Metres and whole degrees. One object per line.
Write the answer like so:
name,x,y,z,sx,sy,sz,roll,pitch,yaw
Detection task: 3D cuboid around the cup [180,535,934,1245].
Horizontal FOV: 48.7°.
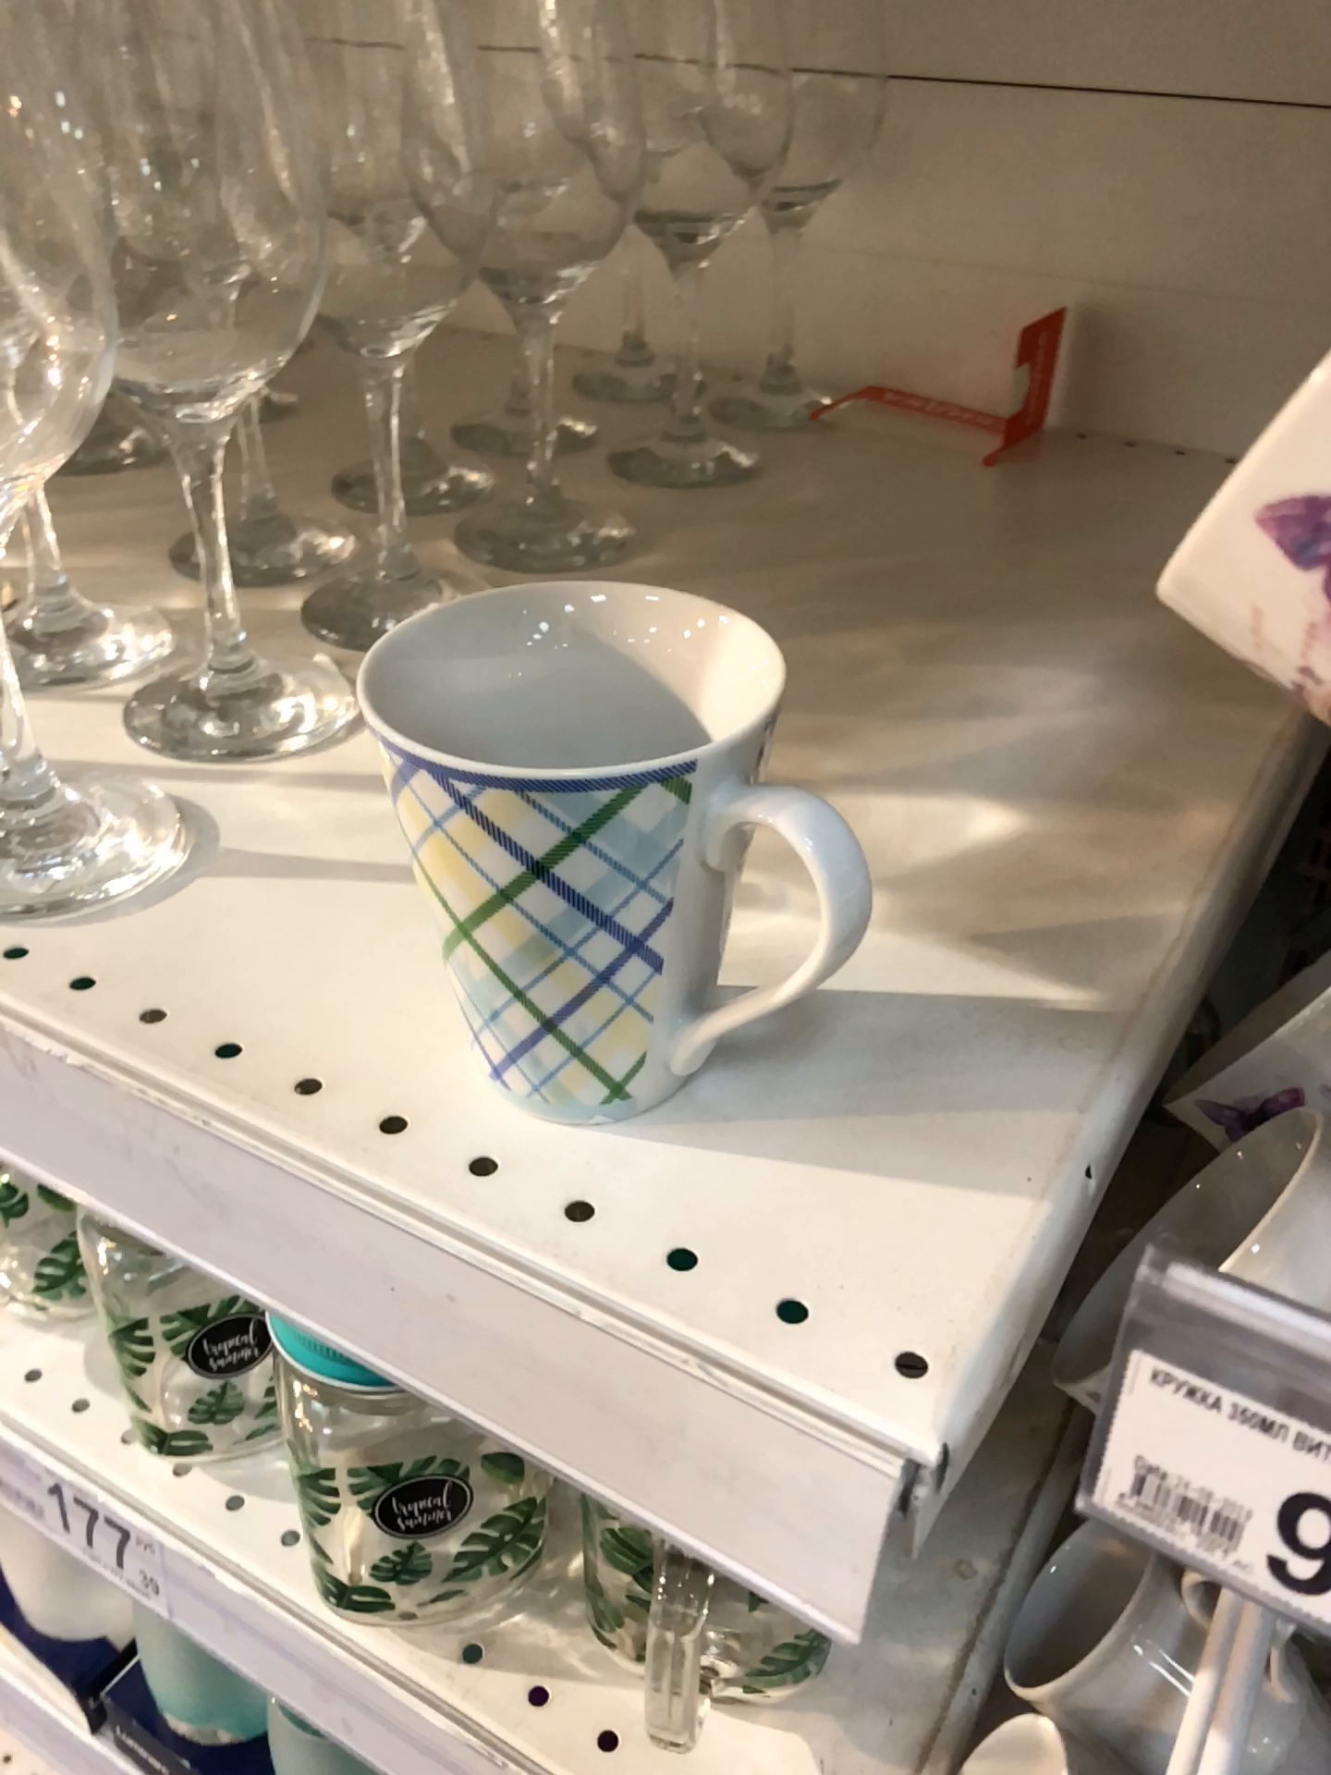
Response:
cup,-0.020,-0.008,0.308,0.116,0.085,0.089,21,39,28
